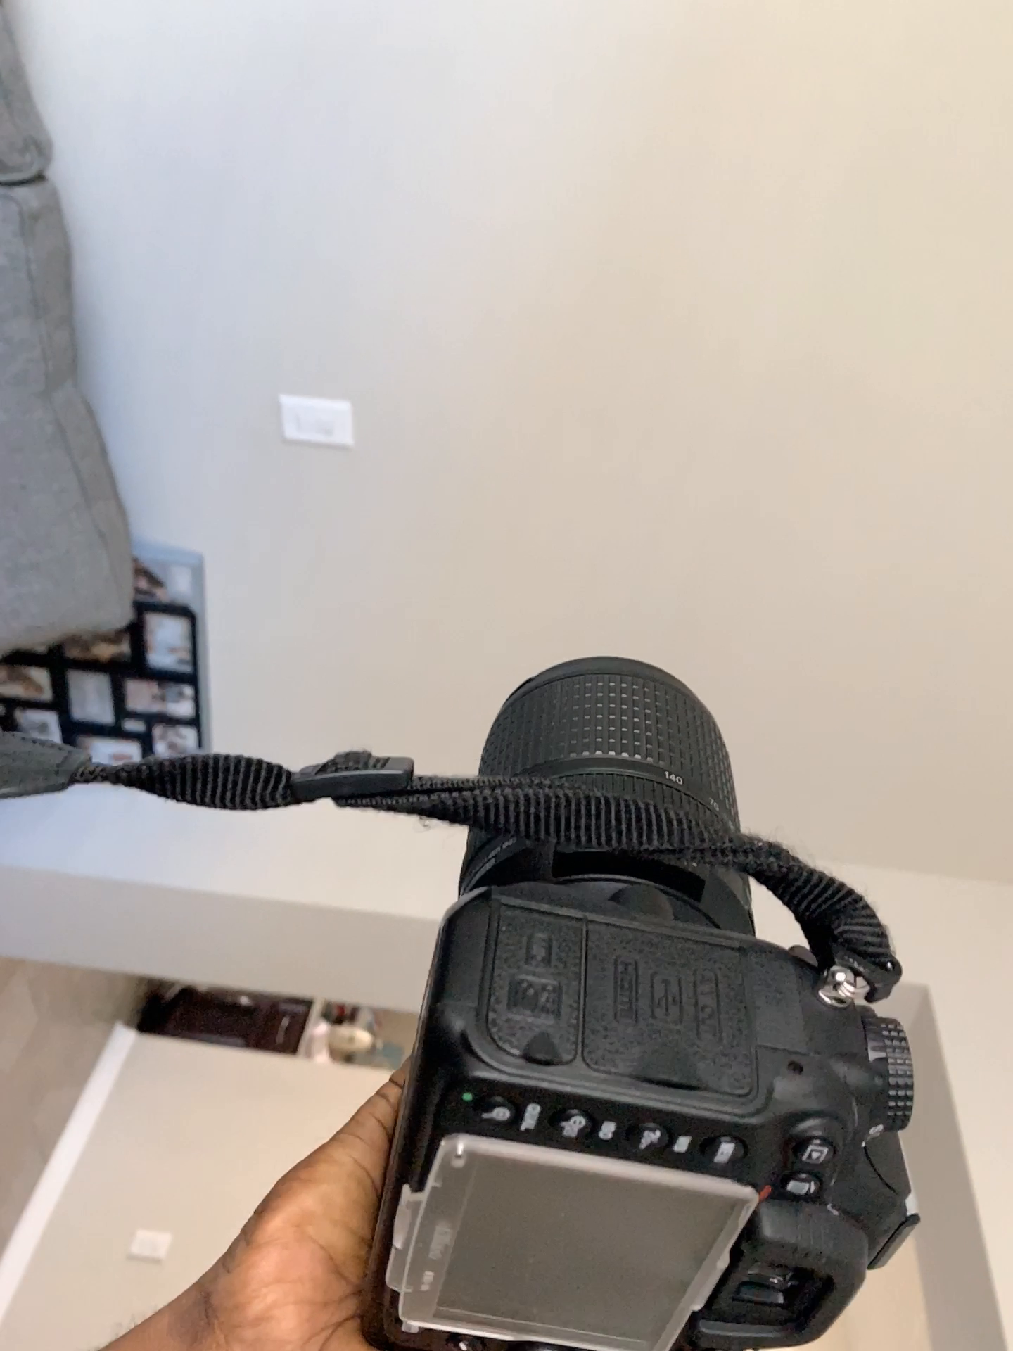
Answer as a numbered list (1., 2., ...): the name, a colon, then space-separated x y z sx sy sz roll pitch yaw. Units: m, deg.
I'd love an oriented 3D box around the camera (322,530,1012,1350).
1. camera: 0.030 0.082 0.293 0.171 0.114 0.159 -83 -174 -52
